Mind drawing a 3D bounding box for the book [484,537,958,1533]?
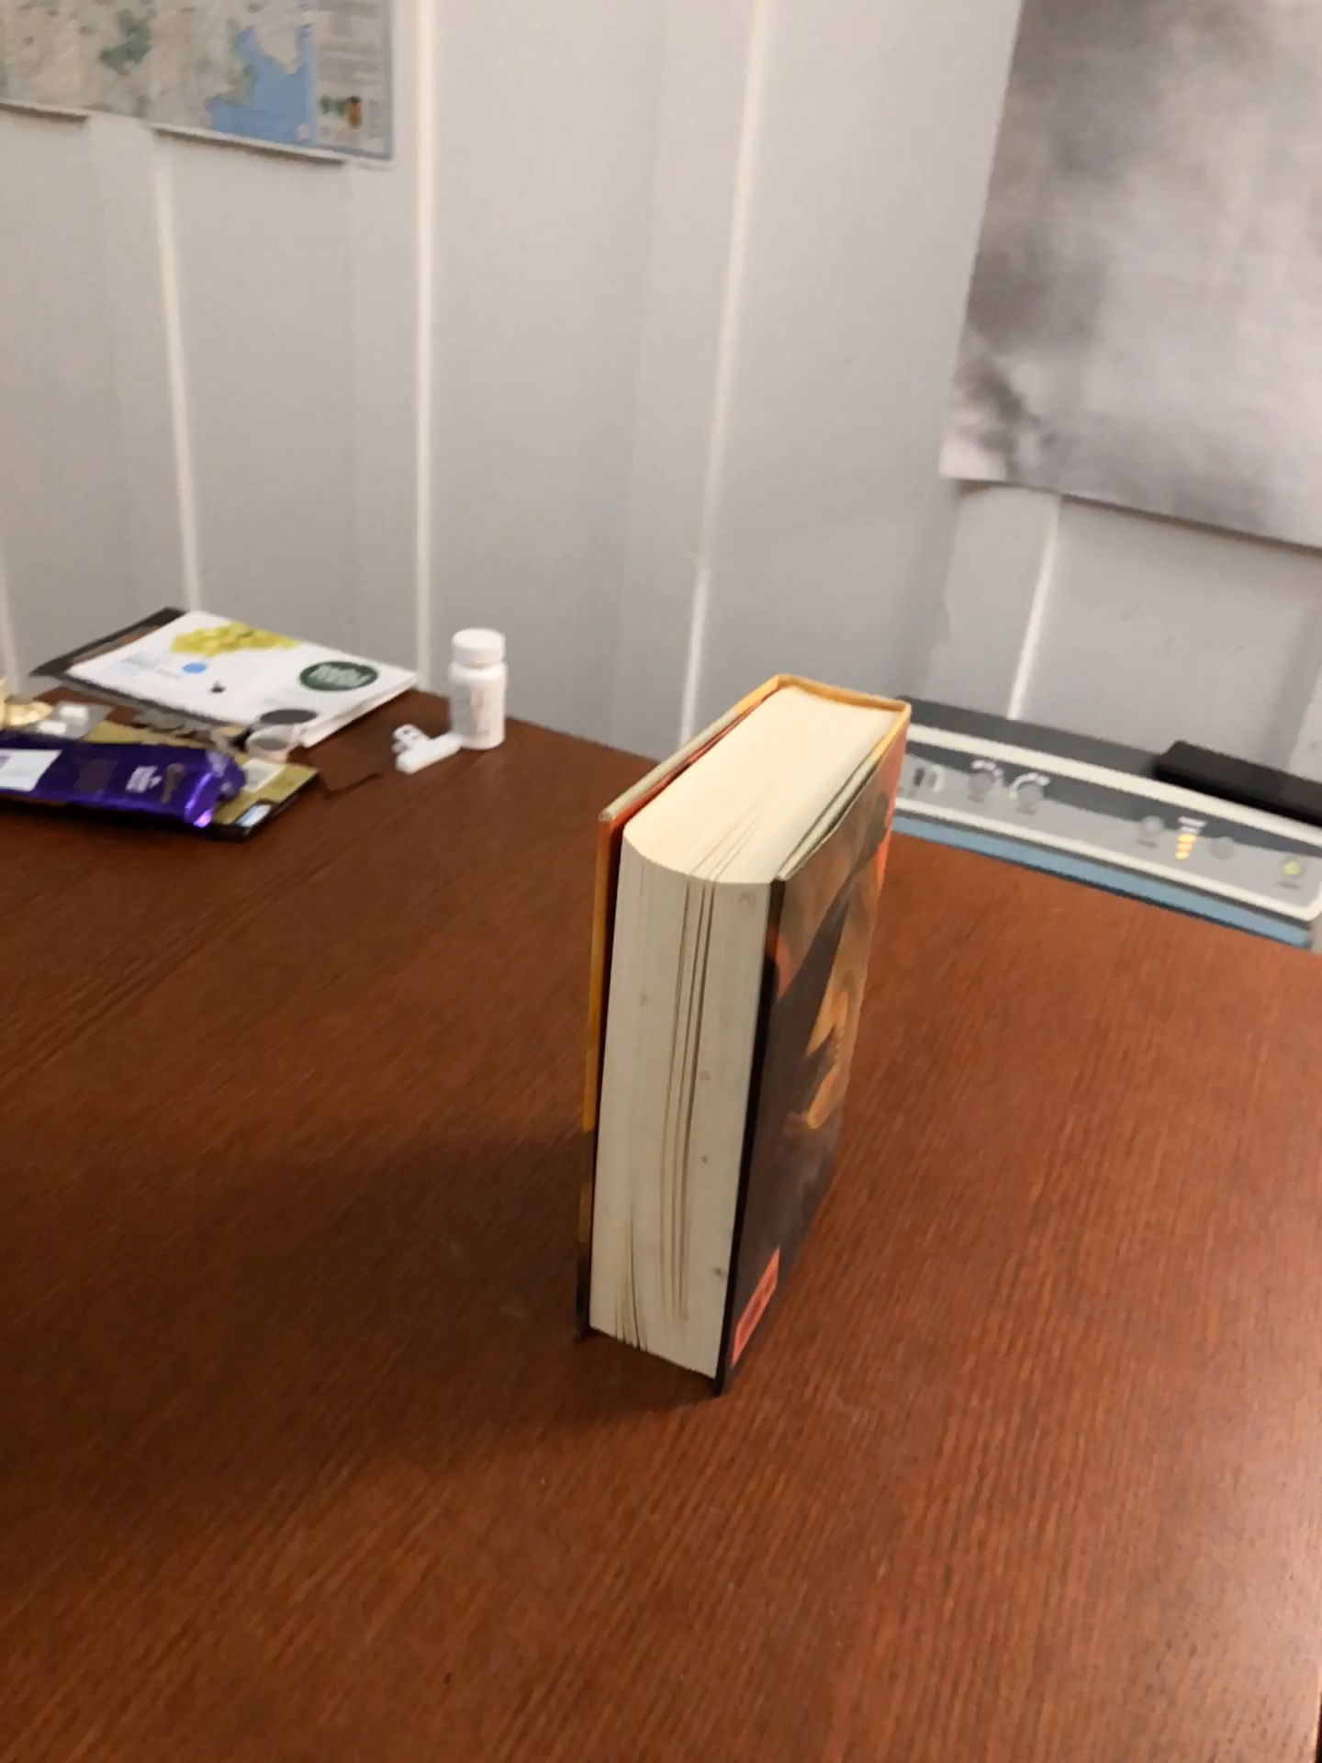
[{"bbox_3d":[0.022,0.050,0.545,0.070,0.298,0.211,17,32,20],"label":"book"}]
